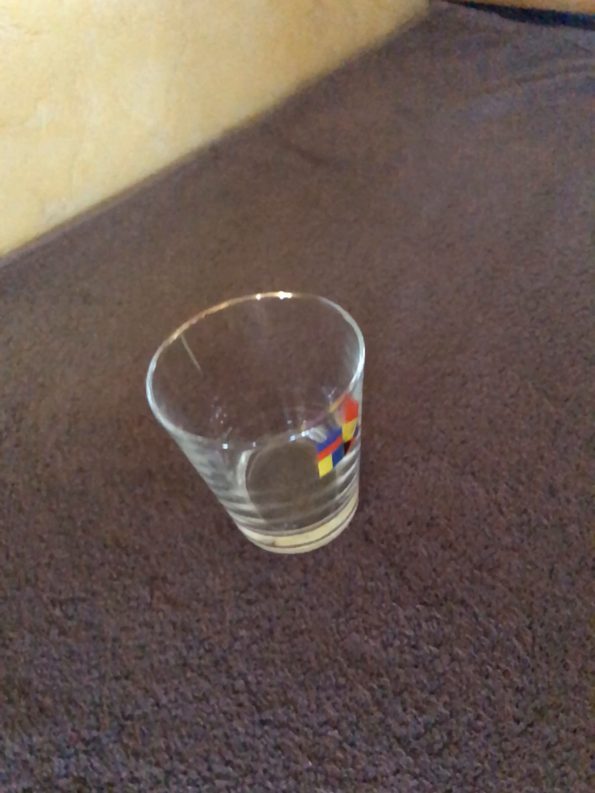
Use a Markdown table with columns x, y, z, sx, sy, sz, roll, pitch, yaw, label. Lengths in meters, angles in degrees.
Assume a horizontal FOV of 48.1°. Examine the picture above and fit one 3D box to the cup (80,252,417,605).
| x | y | z | sx | sy | sz | roll | pitch | yaw | label |
| --- | --- | --- | --- | --- | --- | --- | --- | --- | --- |
| -0.011 | 0.009 | 0.252 | 0.080 | 0.080 | 0.080 | -7 | 46 | 7 | cup |
